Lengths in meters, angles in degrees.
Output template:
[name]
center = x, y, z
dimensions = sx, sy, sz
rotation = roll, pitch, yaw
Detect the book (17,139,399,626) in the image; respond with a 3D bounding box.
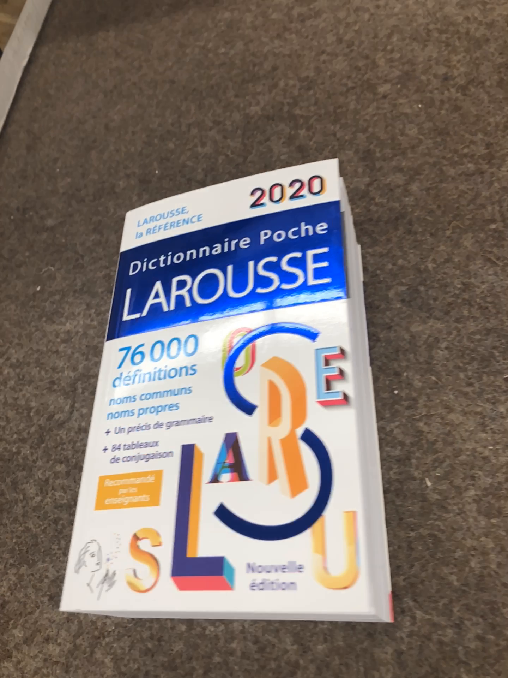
[book]
center = -0.011, 0.016, 0.237
dimensions = 0.117, 0.060, 0.184
rotation = -7, 61, 12
